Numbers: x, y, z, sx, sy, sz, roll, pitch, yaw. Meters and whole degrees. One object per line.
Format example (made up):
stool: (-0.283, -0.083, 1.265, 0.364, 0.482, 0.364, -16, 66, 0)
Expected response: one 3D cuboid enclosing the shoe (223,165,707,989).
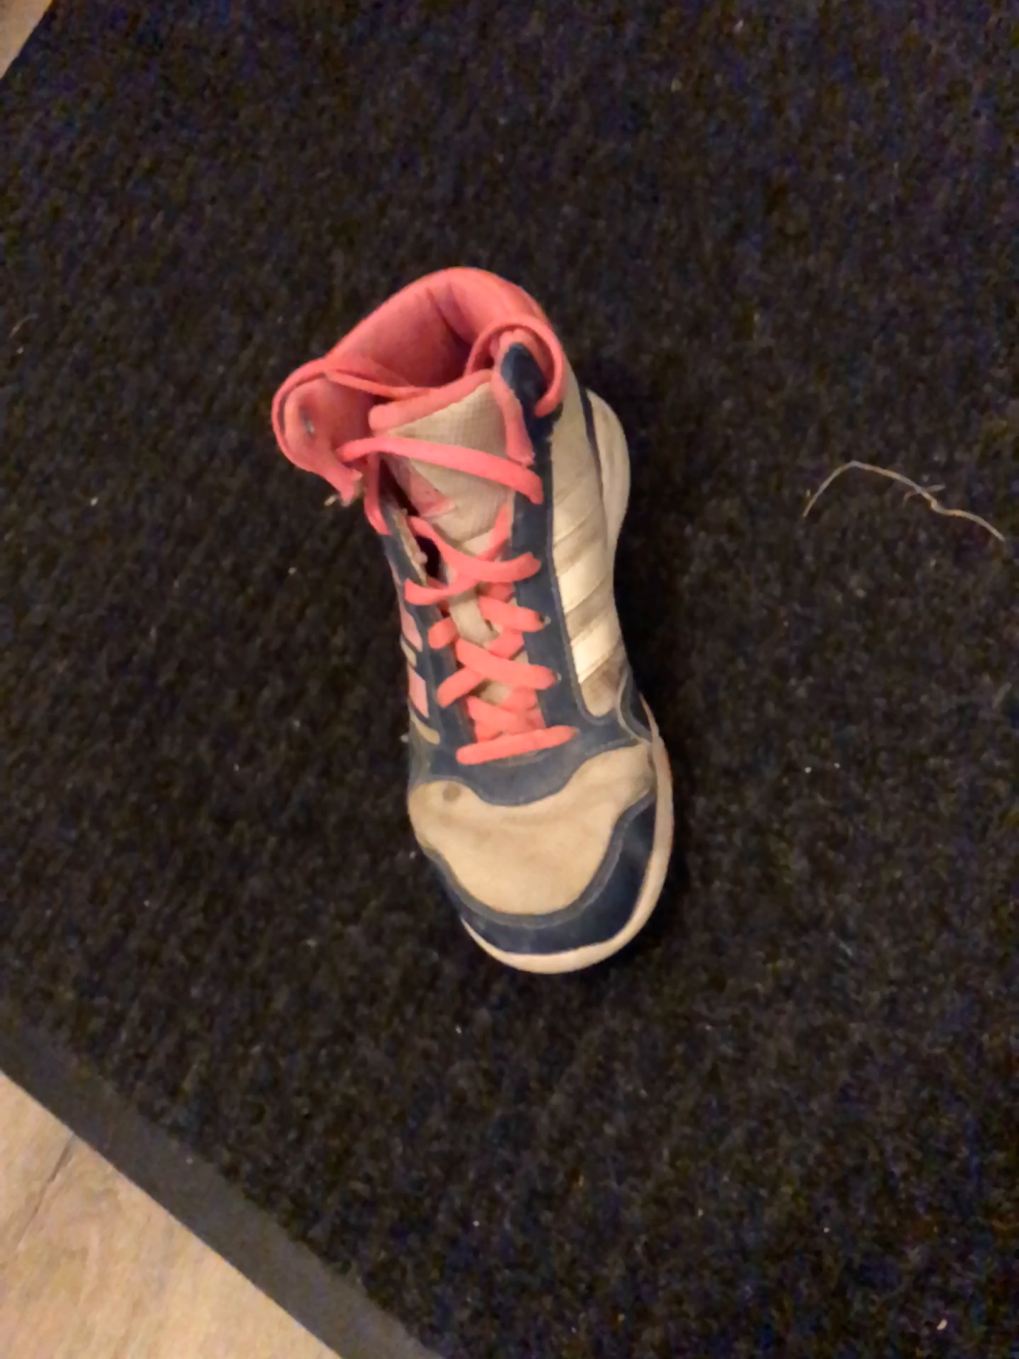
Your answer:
shoe: (-0.011, -0.023, 0.331, 0.090, 0.100, 0.200, -12, 65, 20)
